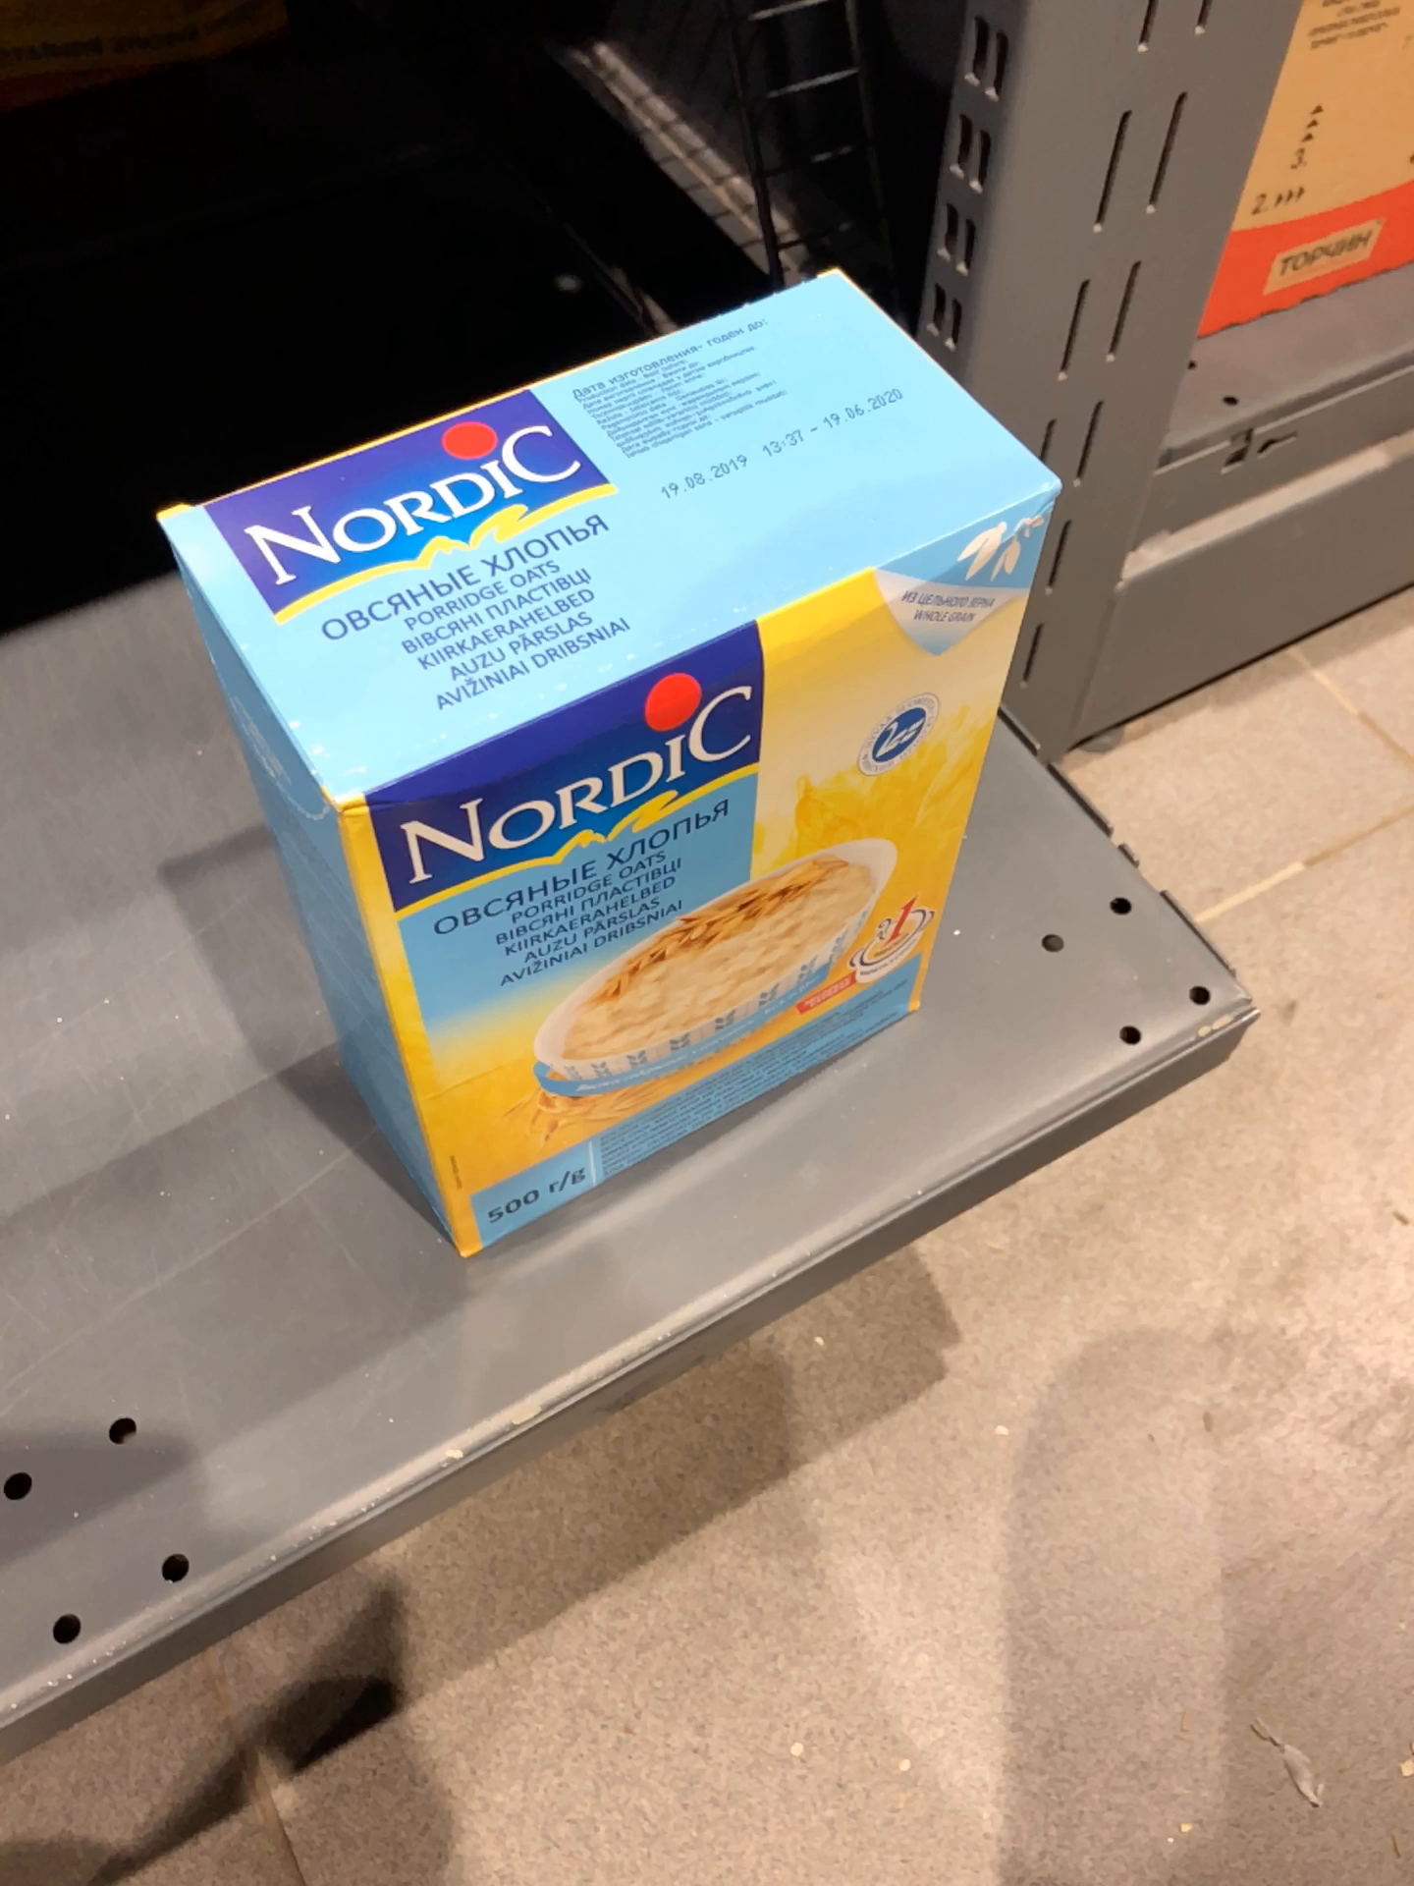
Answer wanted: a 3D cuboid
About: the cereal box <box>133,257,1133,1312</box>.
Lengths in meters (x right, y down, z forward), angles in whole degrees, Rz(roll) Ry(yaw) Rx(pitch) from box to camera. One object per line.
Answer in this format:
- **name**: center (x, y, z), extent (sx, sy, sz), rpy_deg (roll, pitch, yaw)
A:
- **cereal box**: center (-0.013, -0.024, 0.341), extent (0.150, 0.179, 0.080), rpy_deg (-28, 61, -19)
